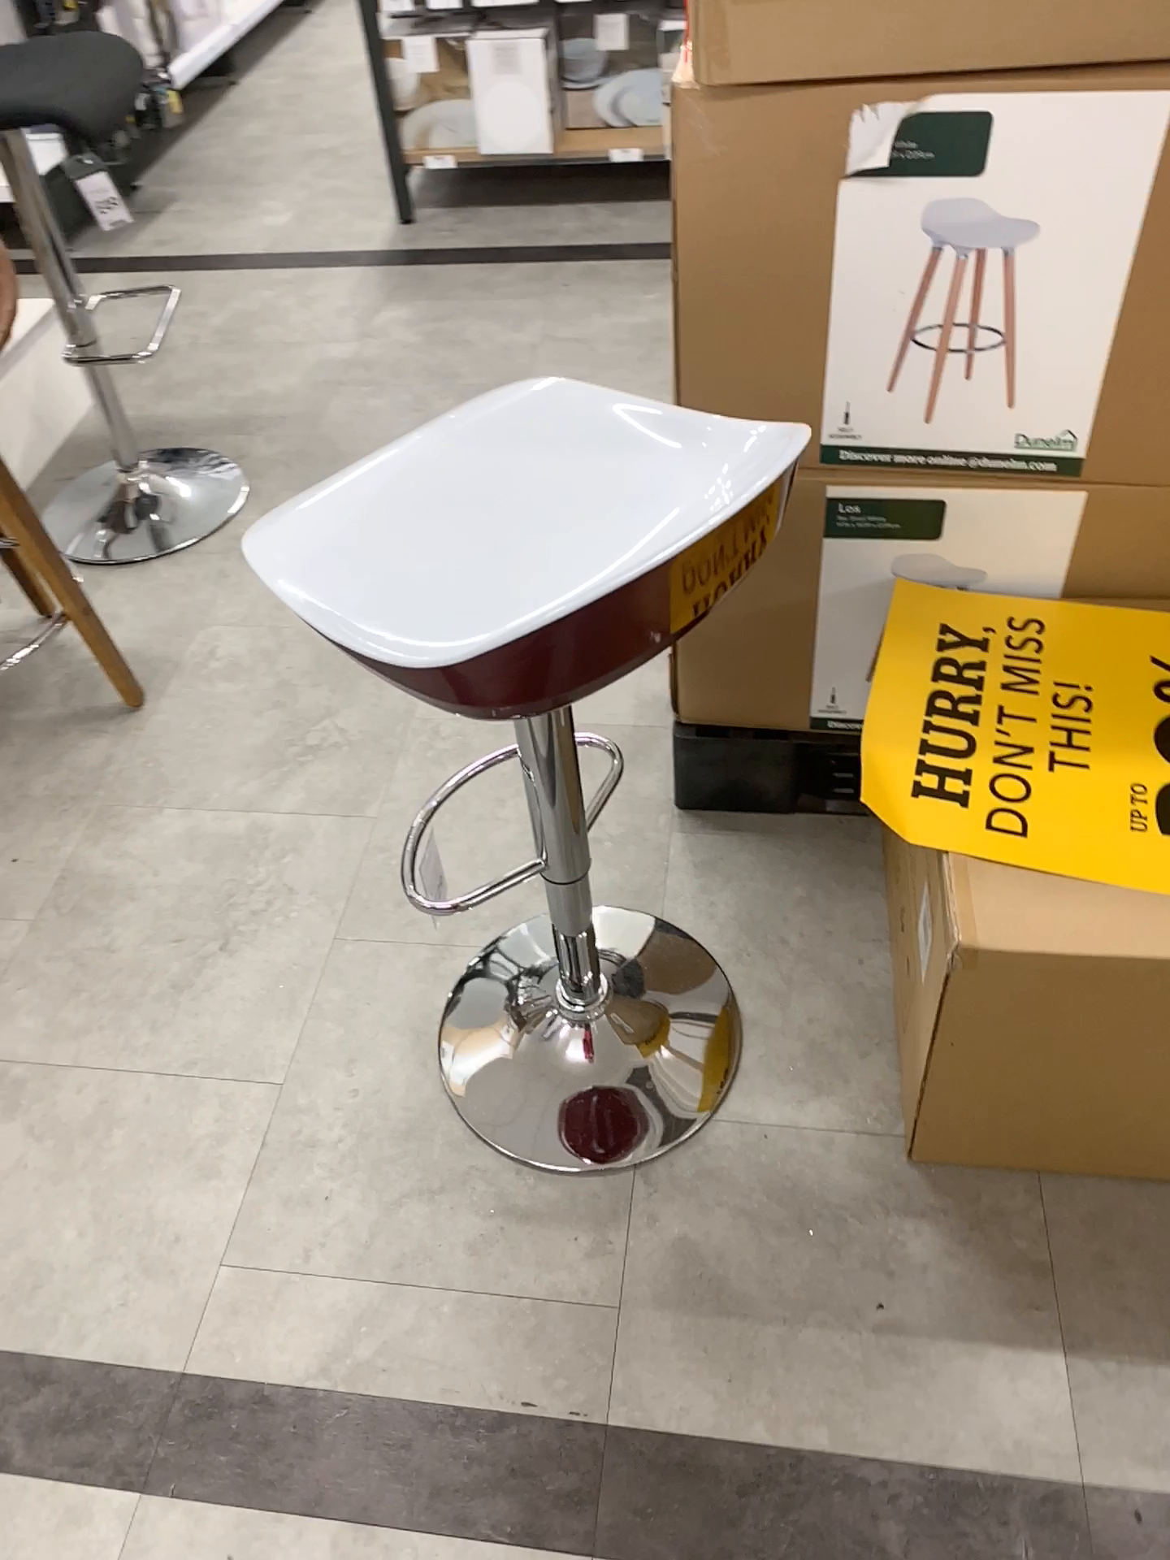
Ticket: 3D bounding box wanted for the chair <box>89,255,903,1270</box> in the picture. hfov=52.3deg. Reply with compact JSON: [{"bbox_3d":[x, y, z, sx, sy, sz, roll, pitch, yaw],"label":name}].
[{"bbox_3d":[-0.037,0.007,1.171,0.436,0.792,0.437,31,56,32],"label":"chair"}]
